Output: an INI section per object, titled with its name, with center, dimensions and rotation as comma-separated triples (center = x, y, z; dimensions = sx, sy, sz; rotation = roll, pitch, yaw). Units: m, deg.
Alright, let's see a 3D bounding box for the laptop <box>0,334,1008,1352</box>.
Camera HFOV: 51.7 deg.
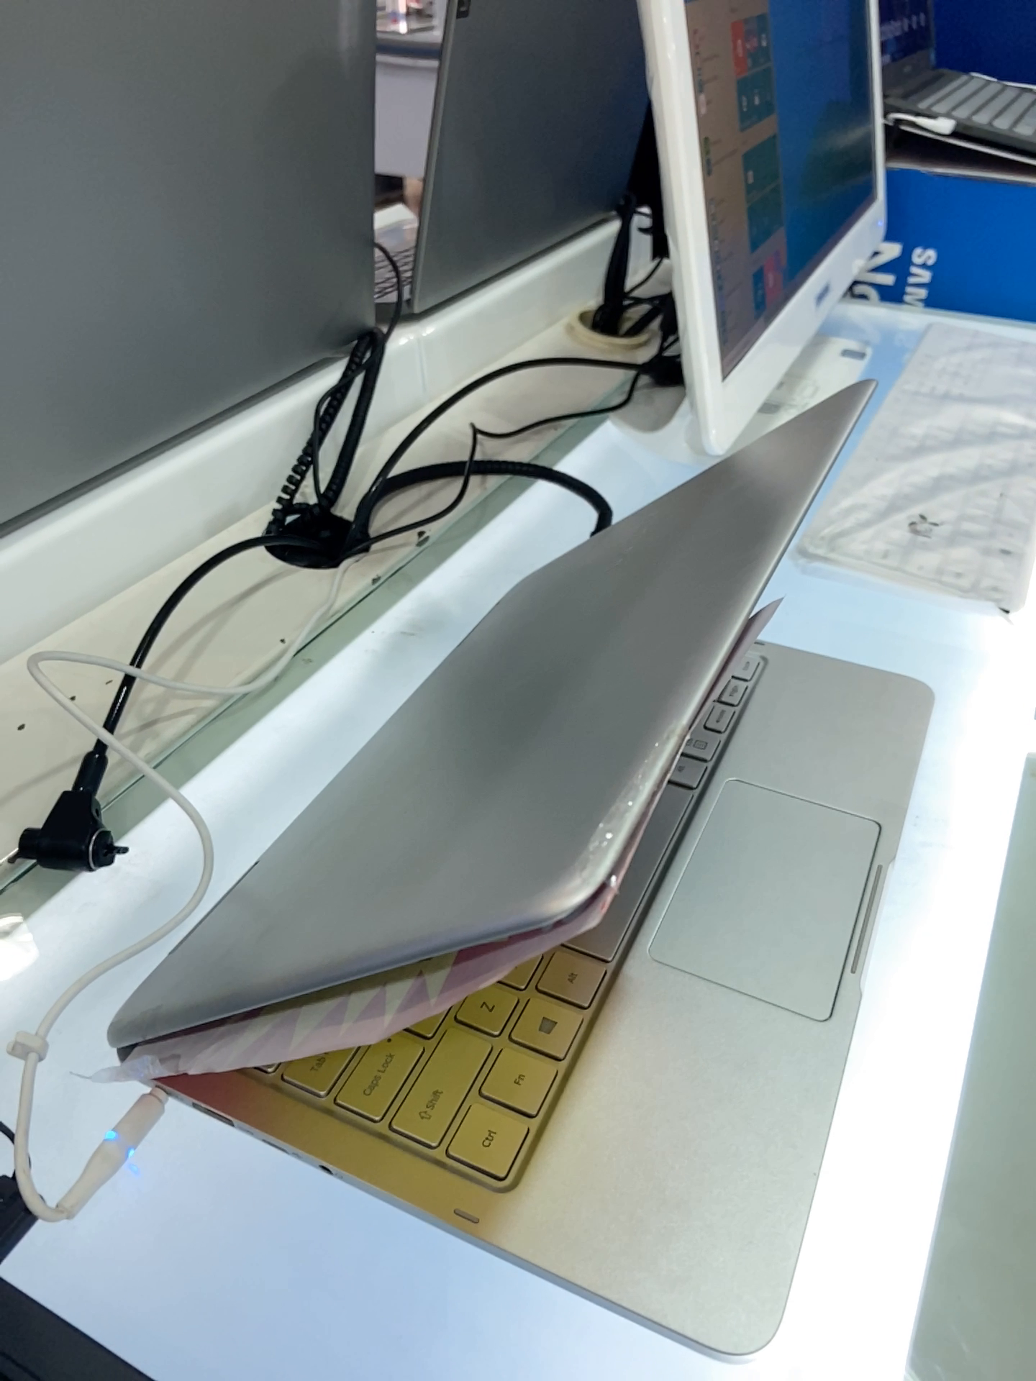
[laptop]
center = 0.031, 0.000, 0.367
dimensions = 0.201, 0.132, 0.308
rotation = 15, 38, 20
